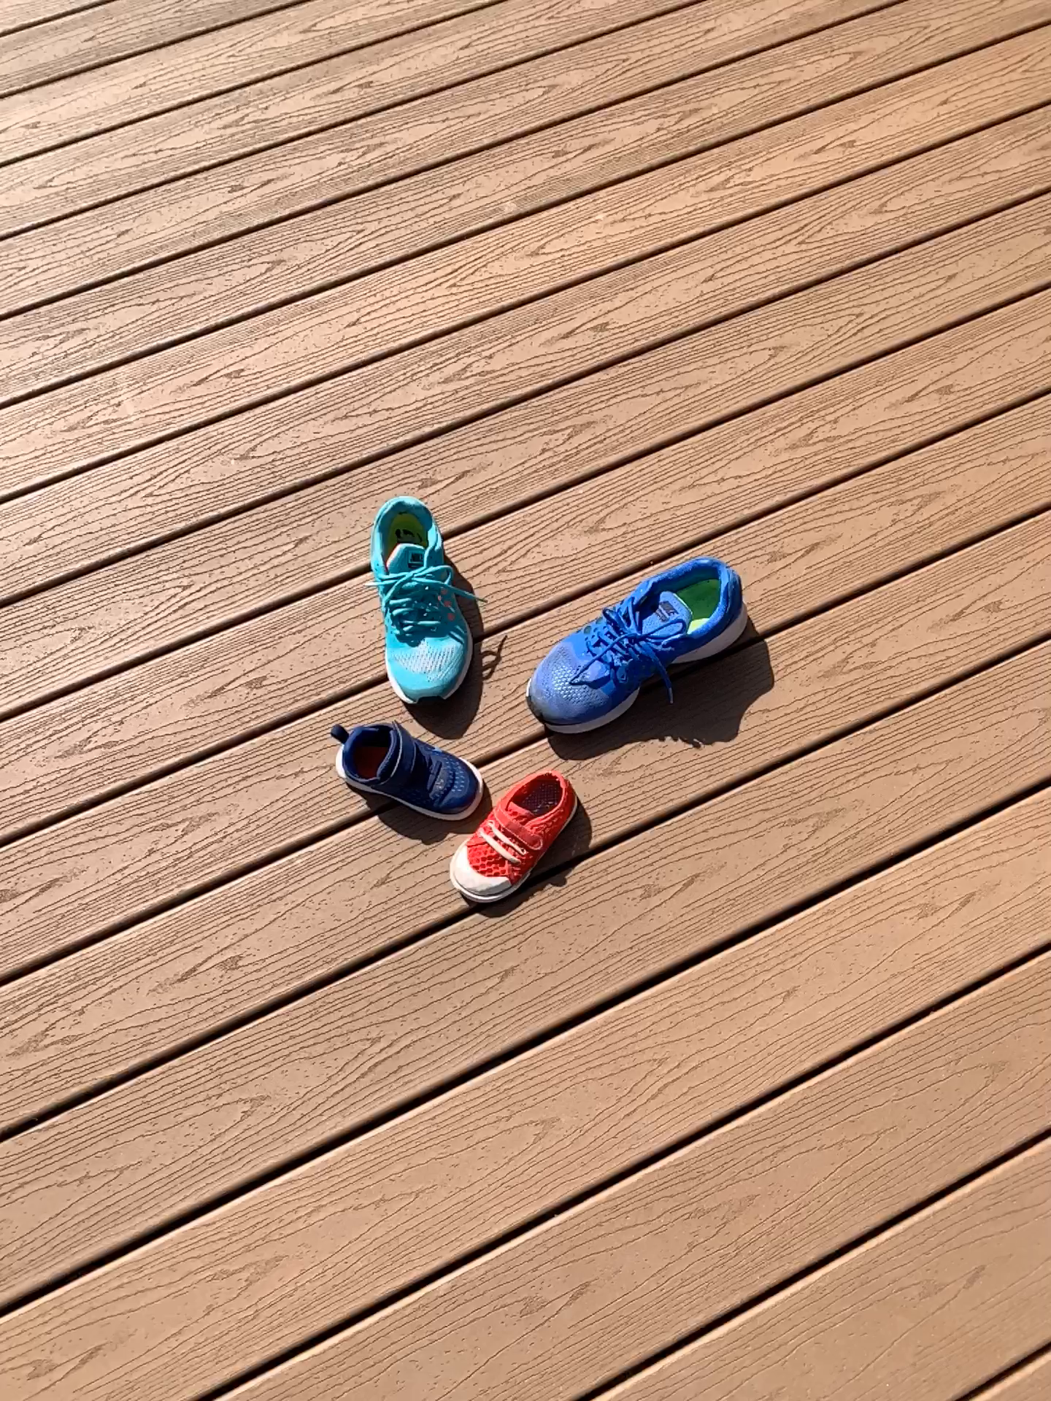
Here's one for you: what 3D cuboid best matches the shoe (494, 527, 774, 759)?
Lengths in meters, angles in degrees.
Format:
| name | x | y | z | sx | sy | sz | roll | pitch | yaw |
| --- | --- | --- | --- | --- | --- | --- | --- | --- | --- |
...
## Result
| name | x | y | z | sx | sy | sz | roll | pitch | yaw |
| --- | --- | --- | --- | --- | --- | --- | --- | --- | --- |
| shoe | 0.121 | -0.067 | 1.221 | 0.290 | 0.090 | 0.120 | -29 | 68 | -12 |

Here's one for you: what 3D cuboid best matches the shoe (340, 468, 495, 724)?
| name | x | y | z | sx | sy | sz | roll | pitch | yaw |
| --- | --- | --- | --- | --- | --- | --- | --- | --- | --- |
| shoe | -0.126 | -0.124 | 1.248 | 0.120 | 0.090 | 0.270 | -13 | 66 | -6 |

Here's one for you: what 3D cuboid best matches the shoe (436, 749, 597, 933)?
| name | x | y | z | sx | sy | sz | roll | pitch | yaw |
| --- | --- | --- | --- | --- | --- | --- | --- | --- | --- |
| shoe | -0.008 | 0.148 | 1.137 | 0.080 | 0.060 | 0.170 | 35 | 70 | 15 |

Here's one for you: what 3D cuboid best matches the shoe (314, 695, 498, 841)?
| name | x | y | z | sx | sy | sz | roll | pitch | yaw |
| --- | --- | --- | --- | --- | --- | --- | --- | --- | --- |
| shoe | -0.126 | 0.073 | 1.157 | 0.170 | 0.070 | 0.090 | 18 | 67 | 8 |
